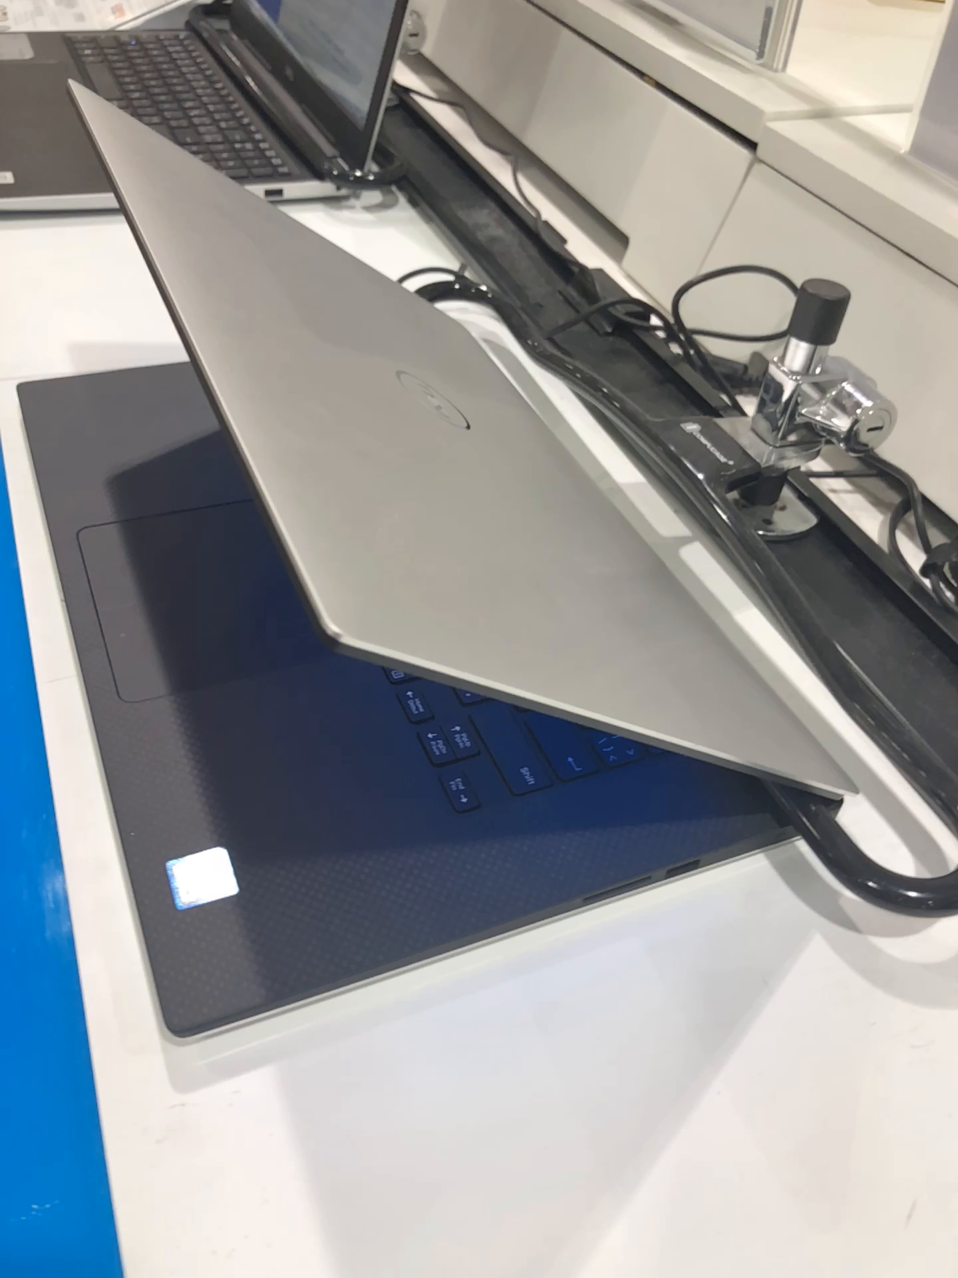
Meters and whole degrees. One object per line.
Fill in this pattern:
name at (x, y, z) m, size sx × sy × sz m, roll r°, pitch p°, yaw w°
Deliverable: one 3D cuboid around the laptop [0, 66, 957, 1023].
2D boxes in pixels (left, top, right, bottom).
laptop at (-0.046, -0.082, 0.389) m, size 0.216 × 0.133 × 0.347 m, roll -14°, pitch 46°, yaw -21°
